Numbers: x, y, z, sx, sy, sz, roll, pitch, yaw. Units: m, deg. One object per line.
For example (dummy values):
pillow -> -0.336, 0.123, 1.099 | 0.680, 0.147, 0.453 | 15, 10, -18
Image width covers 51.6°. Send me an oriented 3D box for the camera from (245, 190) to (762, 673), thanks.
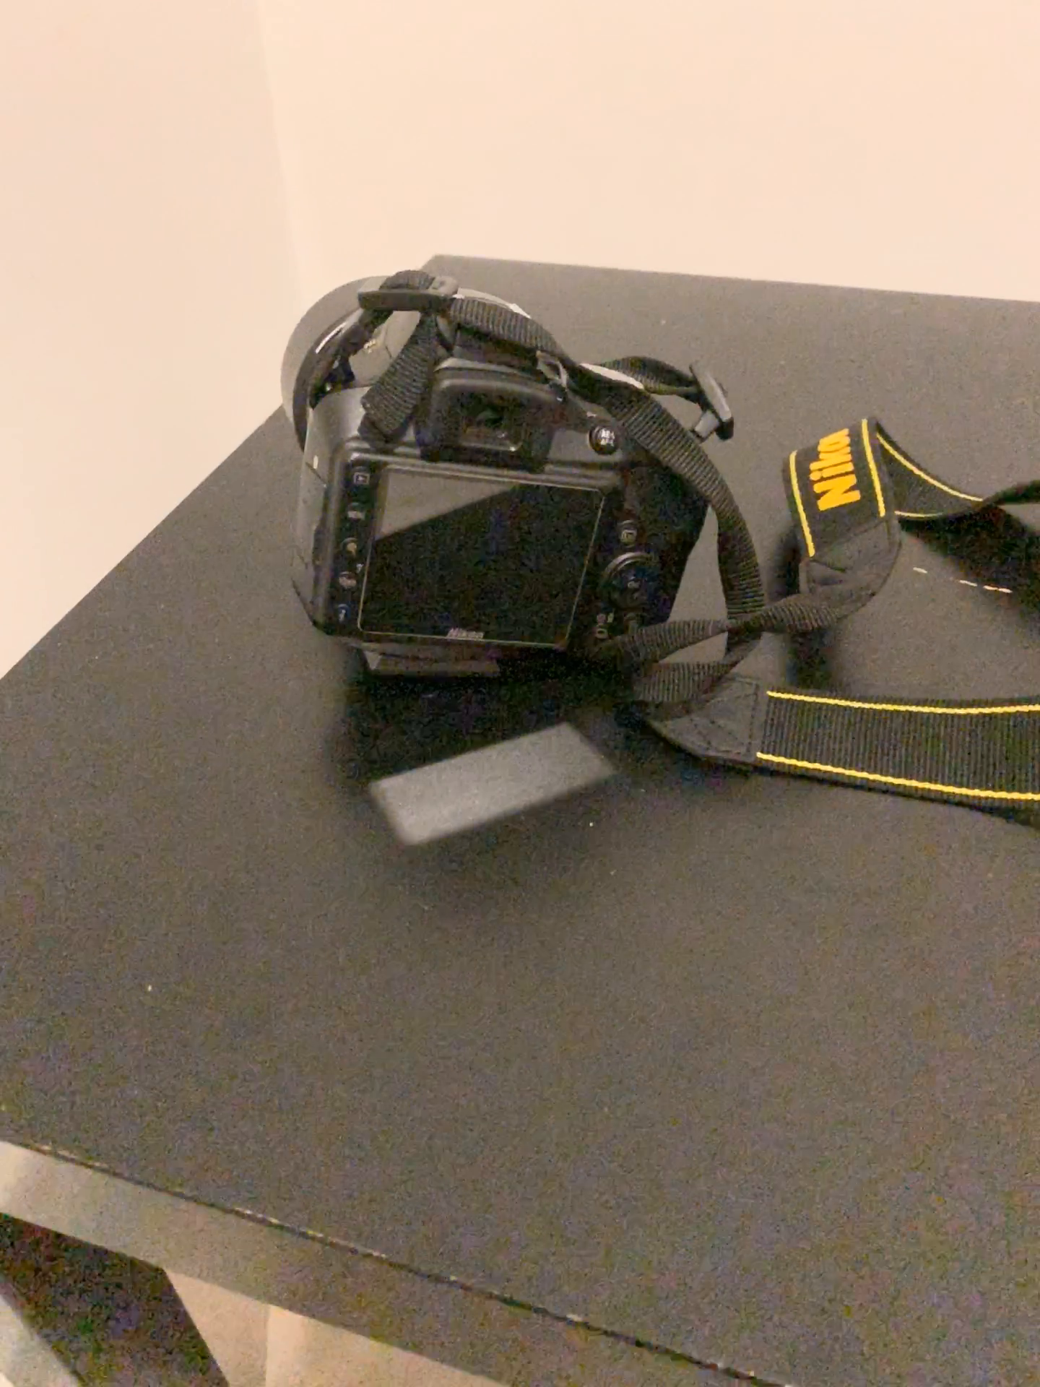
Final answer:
camera -> -0.027, -0.106, 0.393 | 0.116, 0.089, 0.221 | 3, 31, -21
